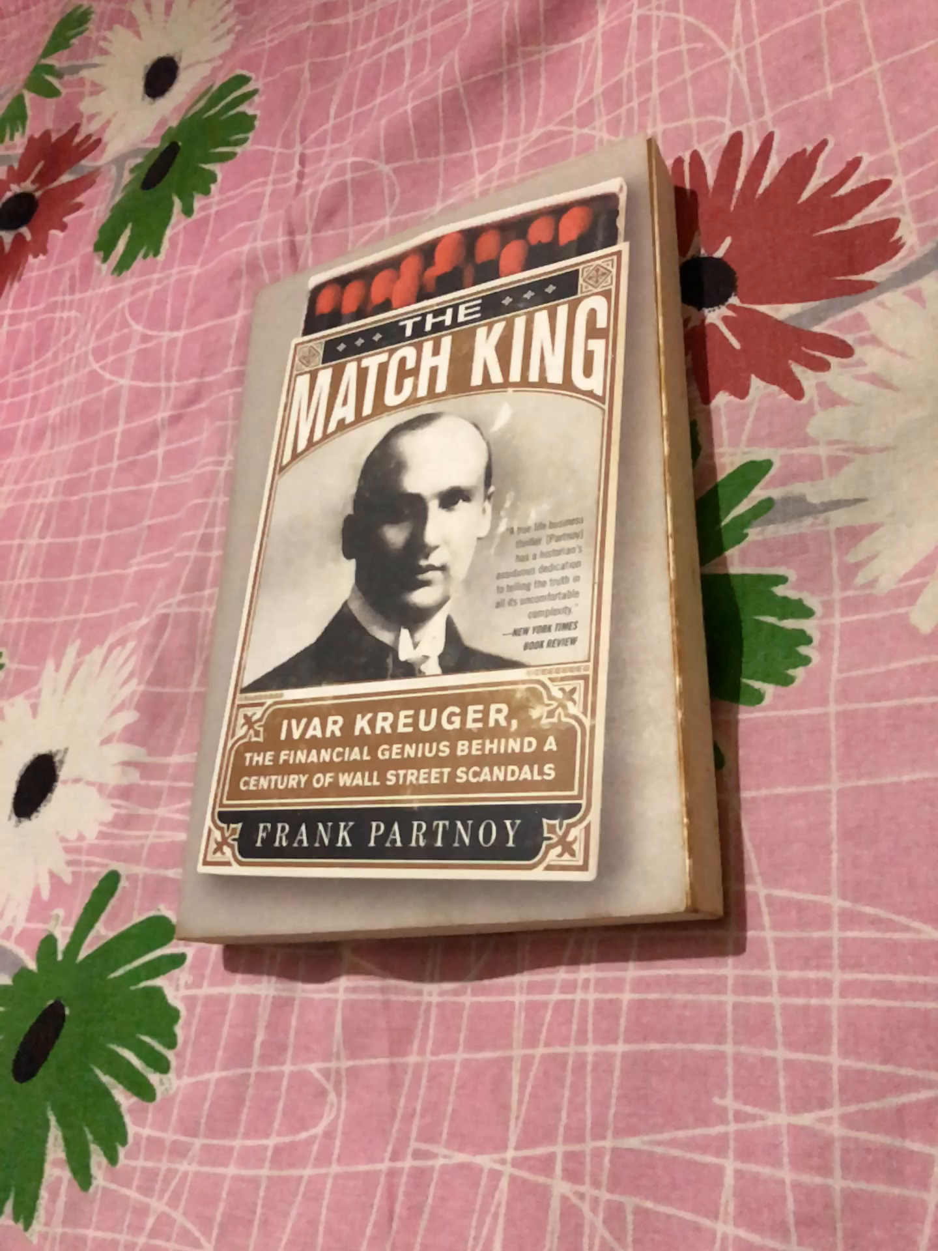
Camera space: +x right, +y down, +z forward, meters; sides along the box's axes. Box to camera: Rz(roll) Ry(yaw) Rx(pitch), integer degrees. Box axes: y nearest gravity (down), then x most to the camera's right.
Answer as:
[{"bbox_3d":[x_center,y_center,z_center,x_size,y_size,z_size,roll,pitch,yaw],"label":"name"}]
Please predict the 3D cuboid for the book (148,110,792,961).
[{"bbox_3d":[-0.001,-0.031,0.311,0.160,0.030,0.240,-12,58,26],"label":"book"}]
